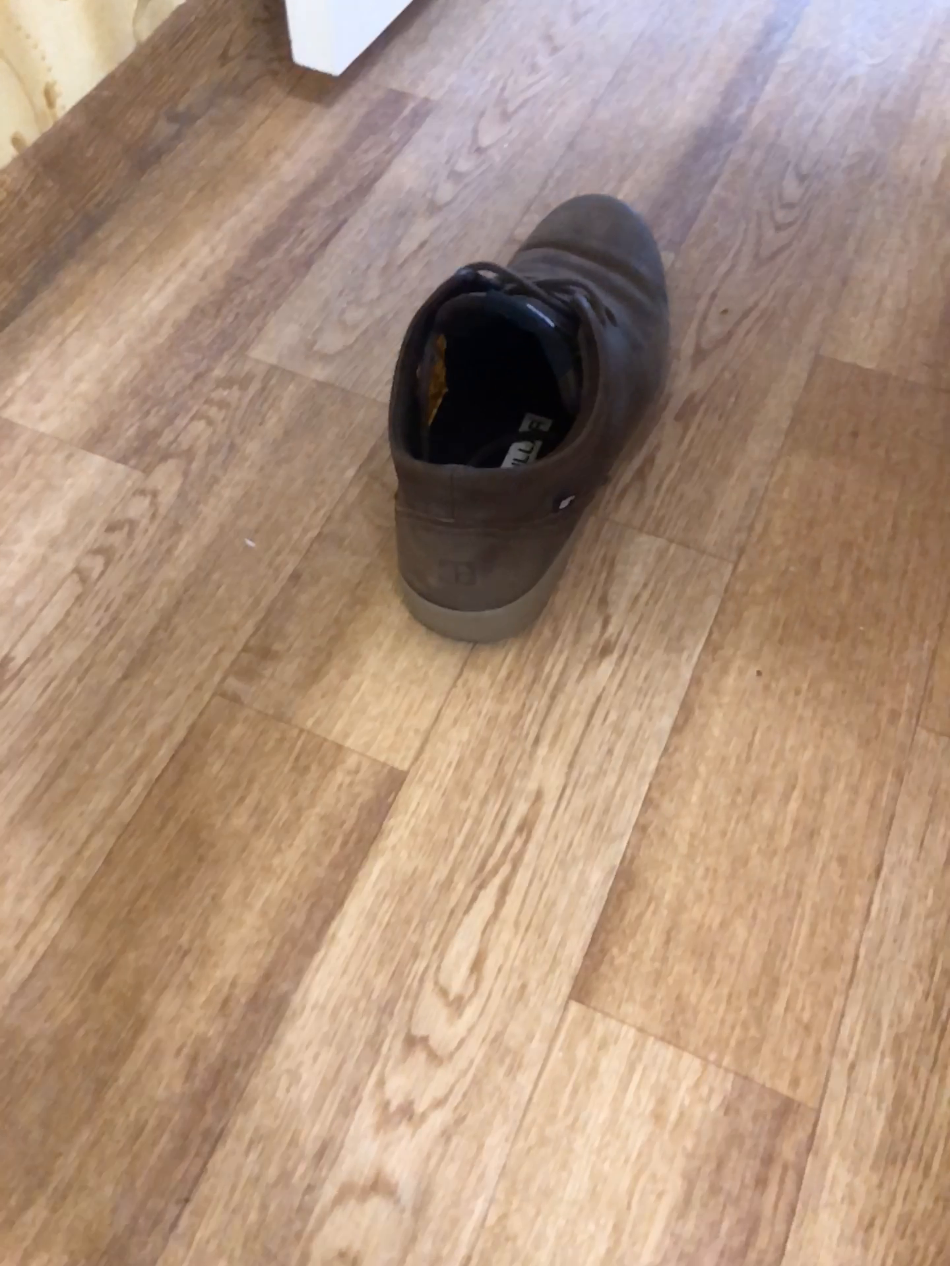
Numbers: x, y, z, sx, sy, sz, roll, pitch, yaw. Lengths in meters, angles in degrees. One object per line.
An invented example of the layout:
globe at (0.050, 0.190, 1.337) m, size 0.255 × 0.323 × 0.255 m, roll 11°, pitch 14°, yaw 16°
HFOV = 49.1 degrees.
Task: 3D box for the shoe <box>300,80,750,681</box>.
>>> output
shoe at (0.033, -0.128, 0.487) m, size 0.100 × 0.100 × 0.271 m, roll 20°, pitch 60°, yaw 11°
